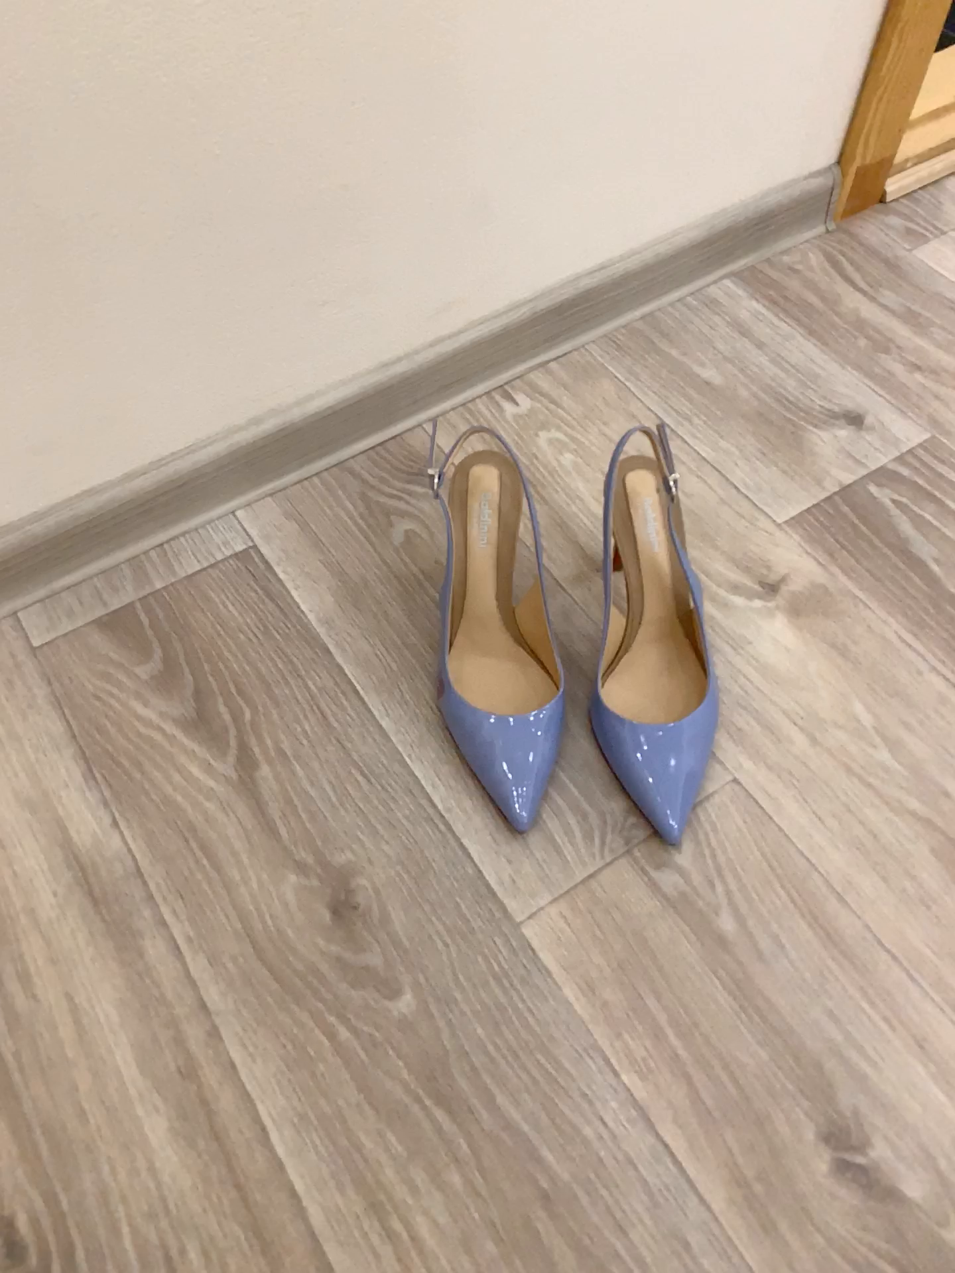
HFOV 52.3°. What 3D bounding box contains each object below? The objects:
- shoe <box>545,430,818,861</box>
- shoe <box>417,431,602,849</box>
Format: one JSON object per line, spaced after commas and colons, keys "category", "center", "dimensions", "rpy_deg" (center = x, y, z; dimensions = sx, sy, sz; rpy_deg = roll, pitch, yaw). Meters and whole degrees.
{"category": "shoe", "center": [0.106, -0.001, 0.574], "dimensions": [0.089, 0.100, 0.231], "rpy_deg": [-6, 56, -4]}
{"category": "shoe", "center": [0.012, -0.003, 0.581], "dimensions": [0.089, 0.100, 0.231], "rpy_deg": [-2, 55, -1]}
